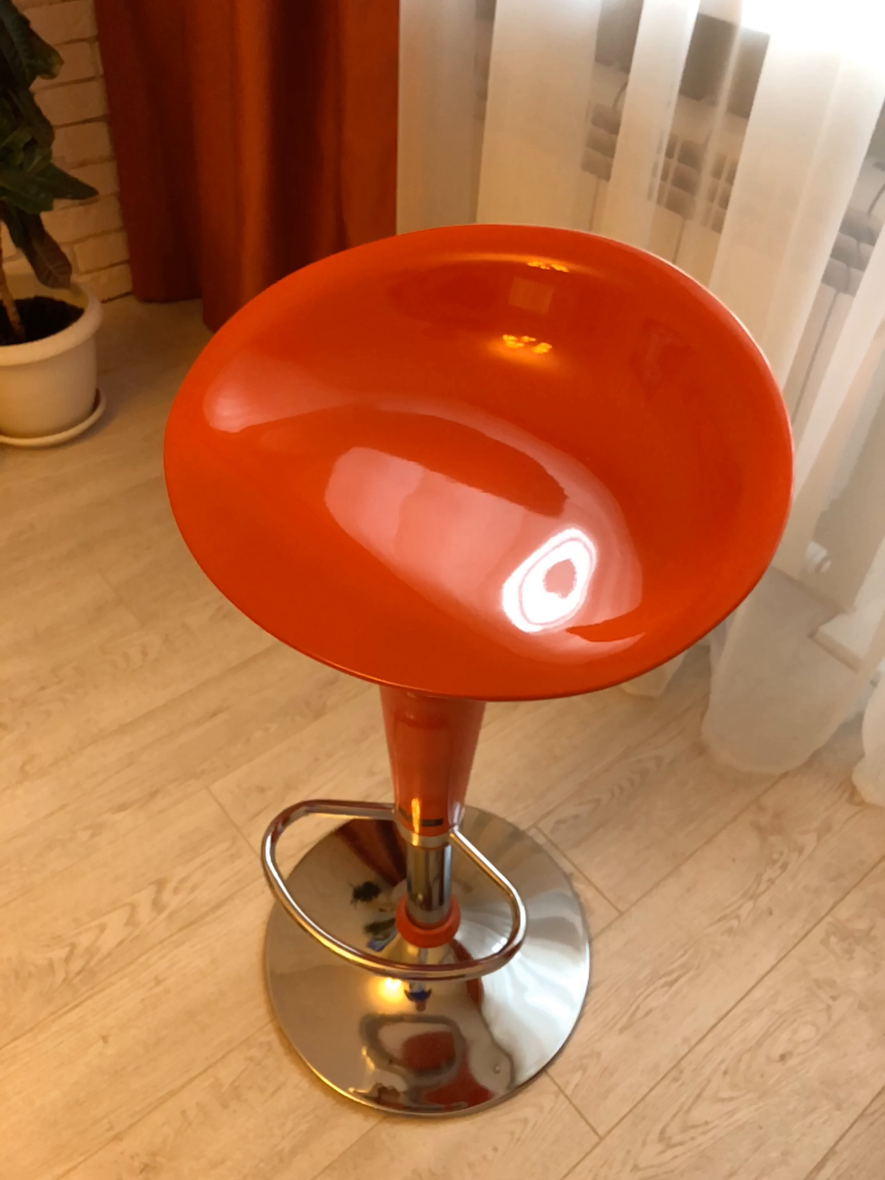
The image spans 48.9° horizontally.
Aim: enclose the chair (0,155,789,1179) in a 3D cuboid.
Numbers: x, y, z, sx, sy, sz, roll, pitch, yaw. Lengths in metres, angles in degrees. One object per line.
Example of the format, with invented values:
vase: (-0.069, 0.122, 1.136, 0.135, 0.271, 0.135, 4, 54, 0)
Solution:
chair: (-0.026, 0.104, 0.836, 0.410, 0.725, 0.423, 14, 45, 11)
